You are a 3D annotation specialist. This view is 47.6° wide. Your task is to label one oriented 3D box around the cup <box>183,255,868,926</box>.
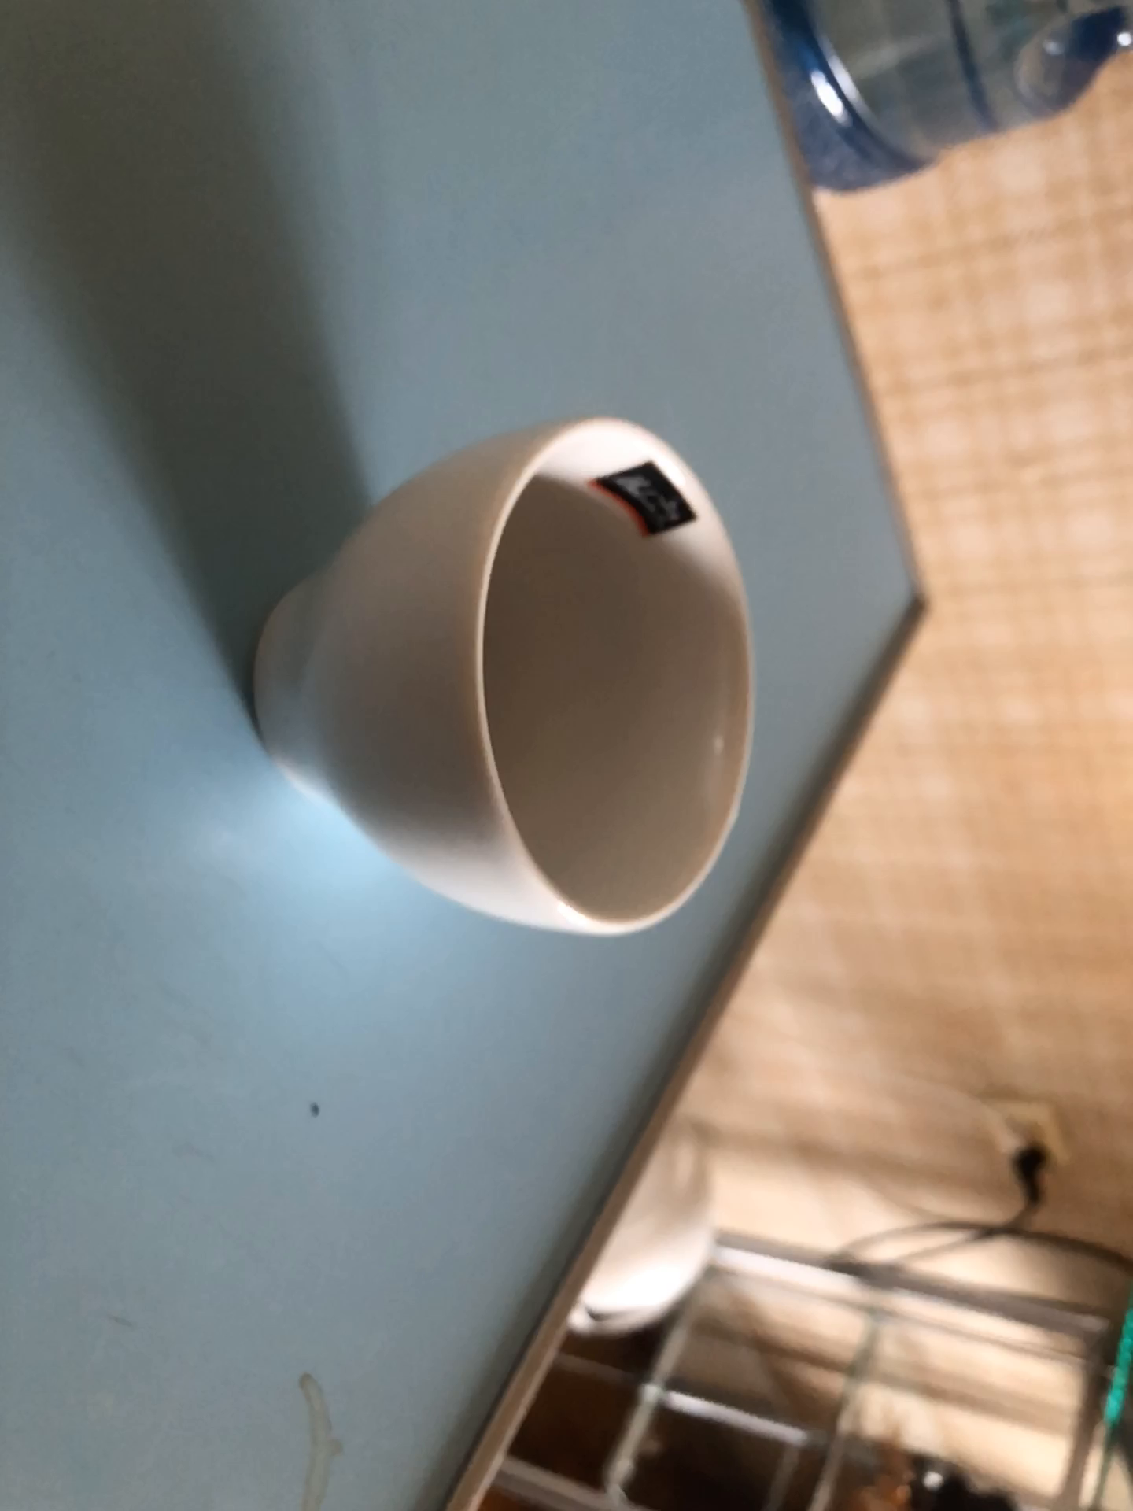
[{"bbox_3d":[0.001,-0.018,0.240,0.111,0.065,0.088,16,76,-52],"label":"cup"}]
